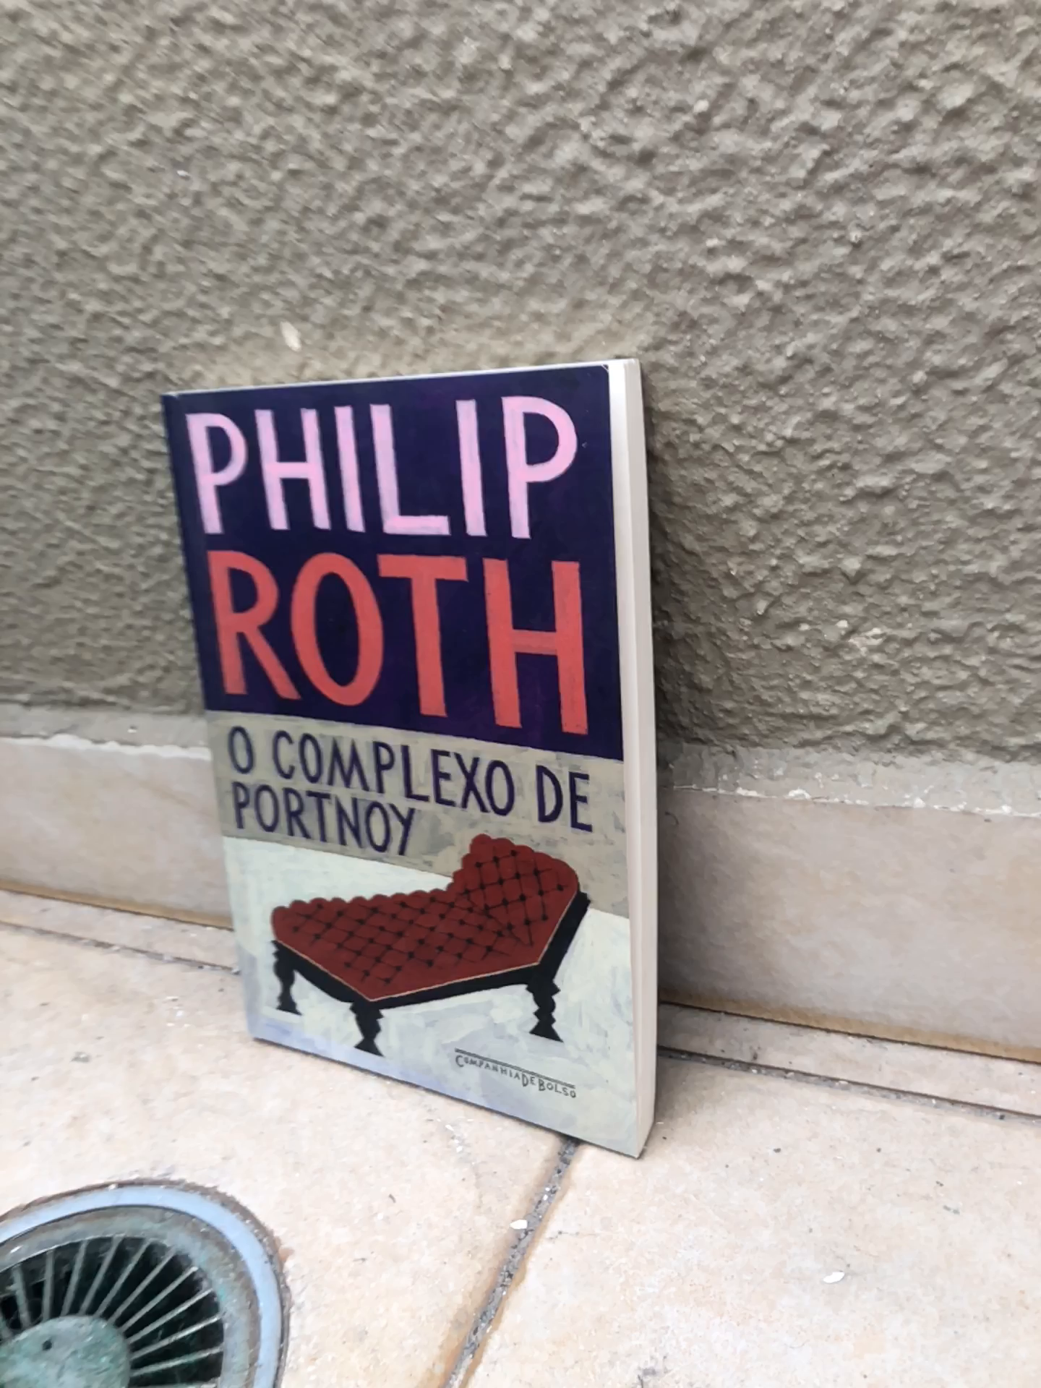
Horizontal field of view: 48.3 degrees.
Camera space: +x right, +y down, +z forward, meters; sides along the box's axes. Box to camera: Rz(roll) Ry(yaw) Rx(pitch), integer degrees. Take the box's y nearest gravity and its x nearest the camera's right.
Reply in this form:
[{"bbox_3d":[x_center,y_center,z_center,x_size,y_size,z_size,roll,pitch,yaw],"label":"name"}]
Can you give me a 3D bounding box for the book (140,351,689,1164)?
[{"bbox_3d":[-0.026,0.014,0.285,0.126,0.179,0.023,5,18,31],"label":"book"}]
